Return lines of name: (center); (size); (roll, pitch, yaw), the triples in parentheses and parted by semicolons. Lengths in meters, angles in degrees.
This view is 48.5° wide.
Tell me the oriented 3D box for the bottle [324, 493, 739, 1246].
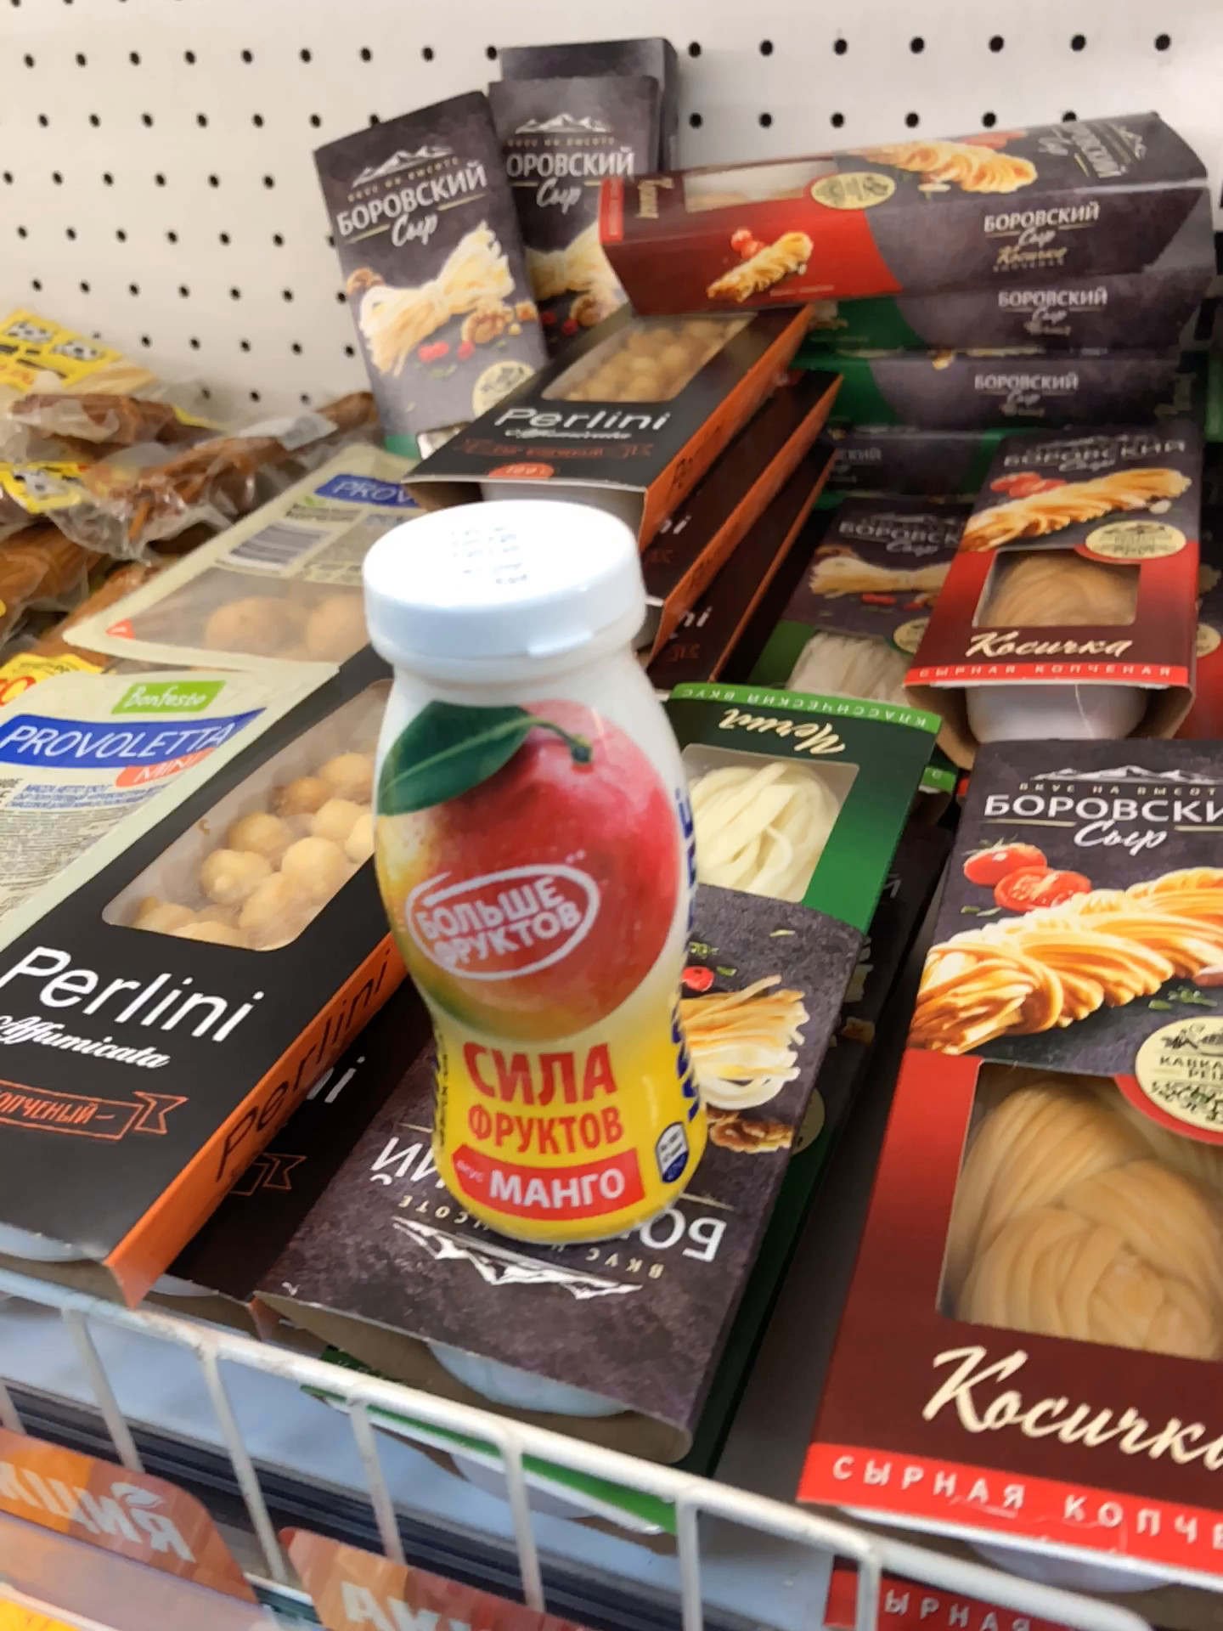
bottle: (-0.006, 0.010, 0.195); (0.046, 0.099, 0.044); (-2, 33, 1)
